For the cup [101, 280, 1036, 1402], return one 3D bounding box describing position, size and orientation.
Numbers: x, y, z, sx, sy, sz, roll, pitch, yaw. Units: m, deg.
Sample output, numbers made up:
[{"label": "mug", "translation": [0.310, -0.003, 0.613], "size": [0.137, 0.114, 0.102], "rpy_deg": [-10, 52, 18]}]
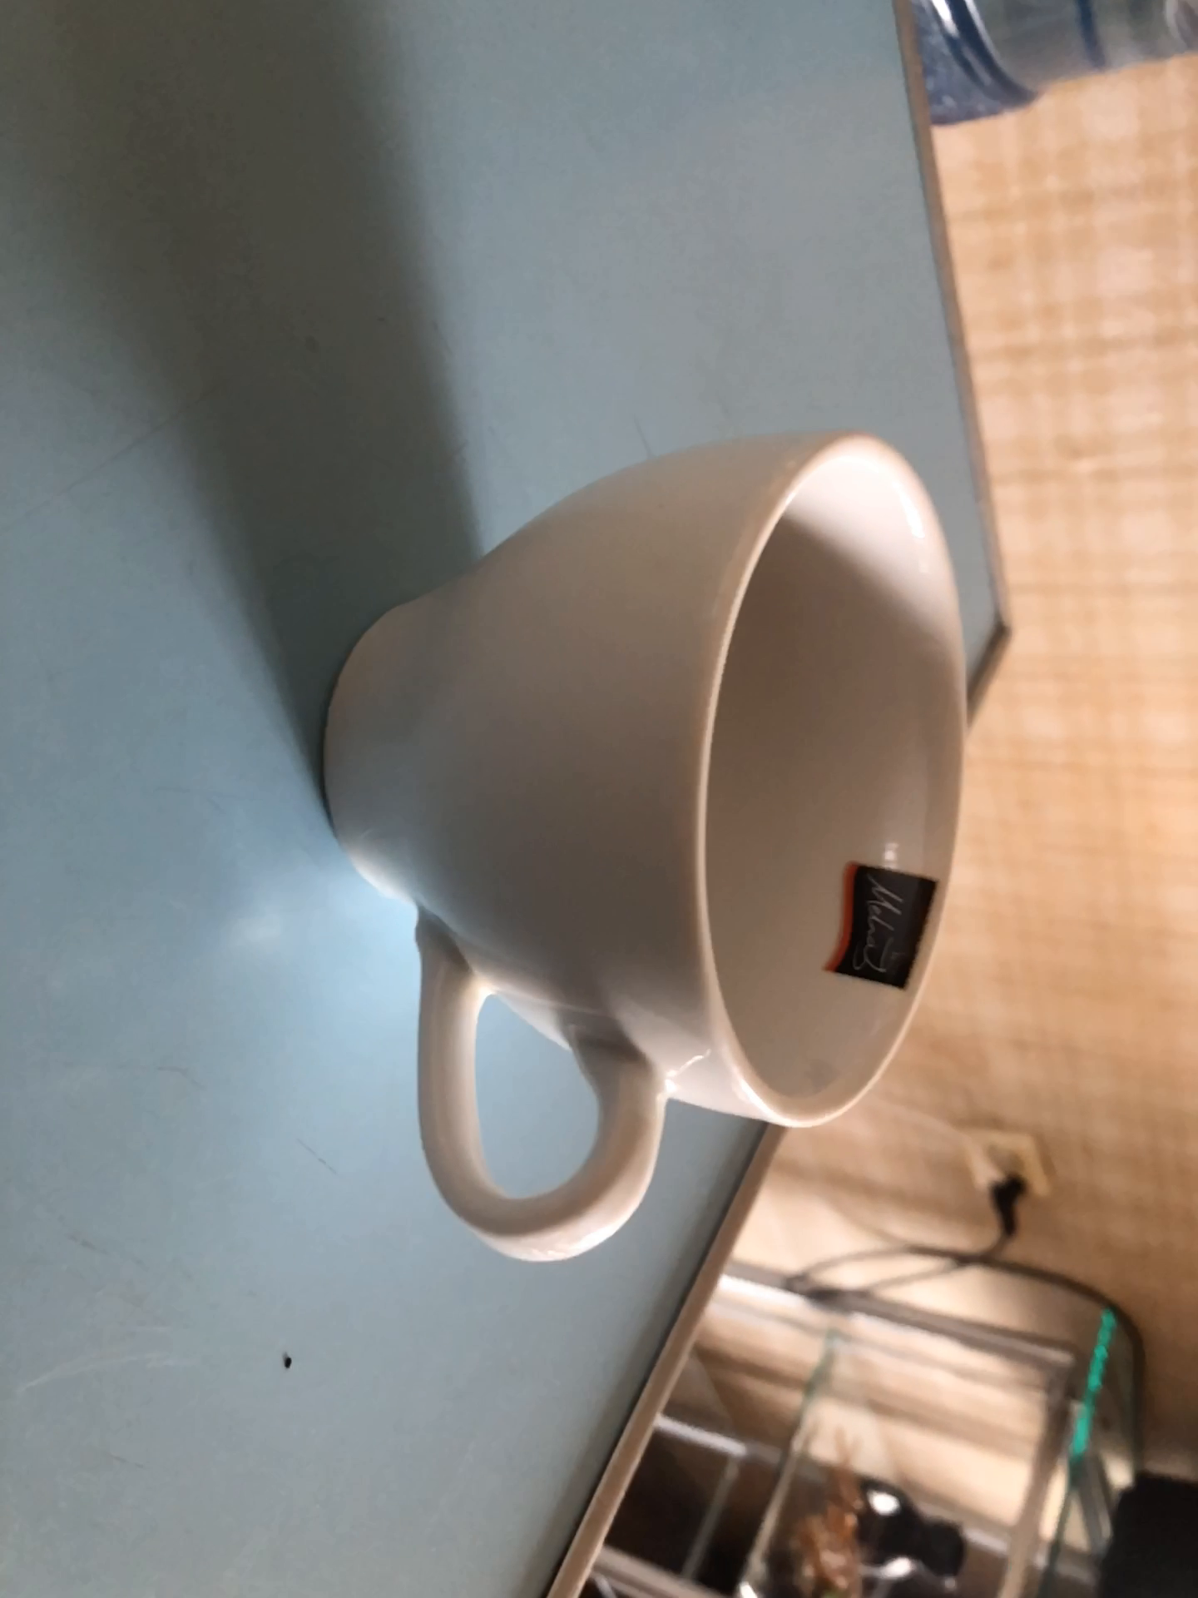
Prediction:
[{"label": "cup", "translation": [0.011, 0.009, 0.183], "size": [0.097, 0.057, 0.106], "rpy_deg": [51, 53, -47]}]
